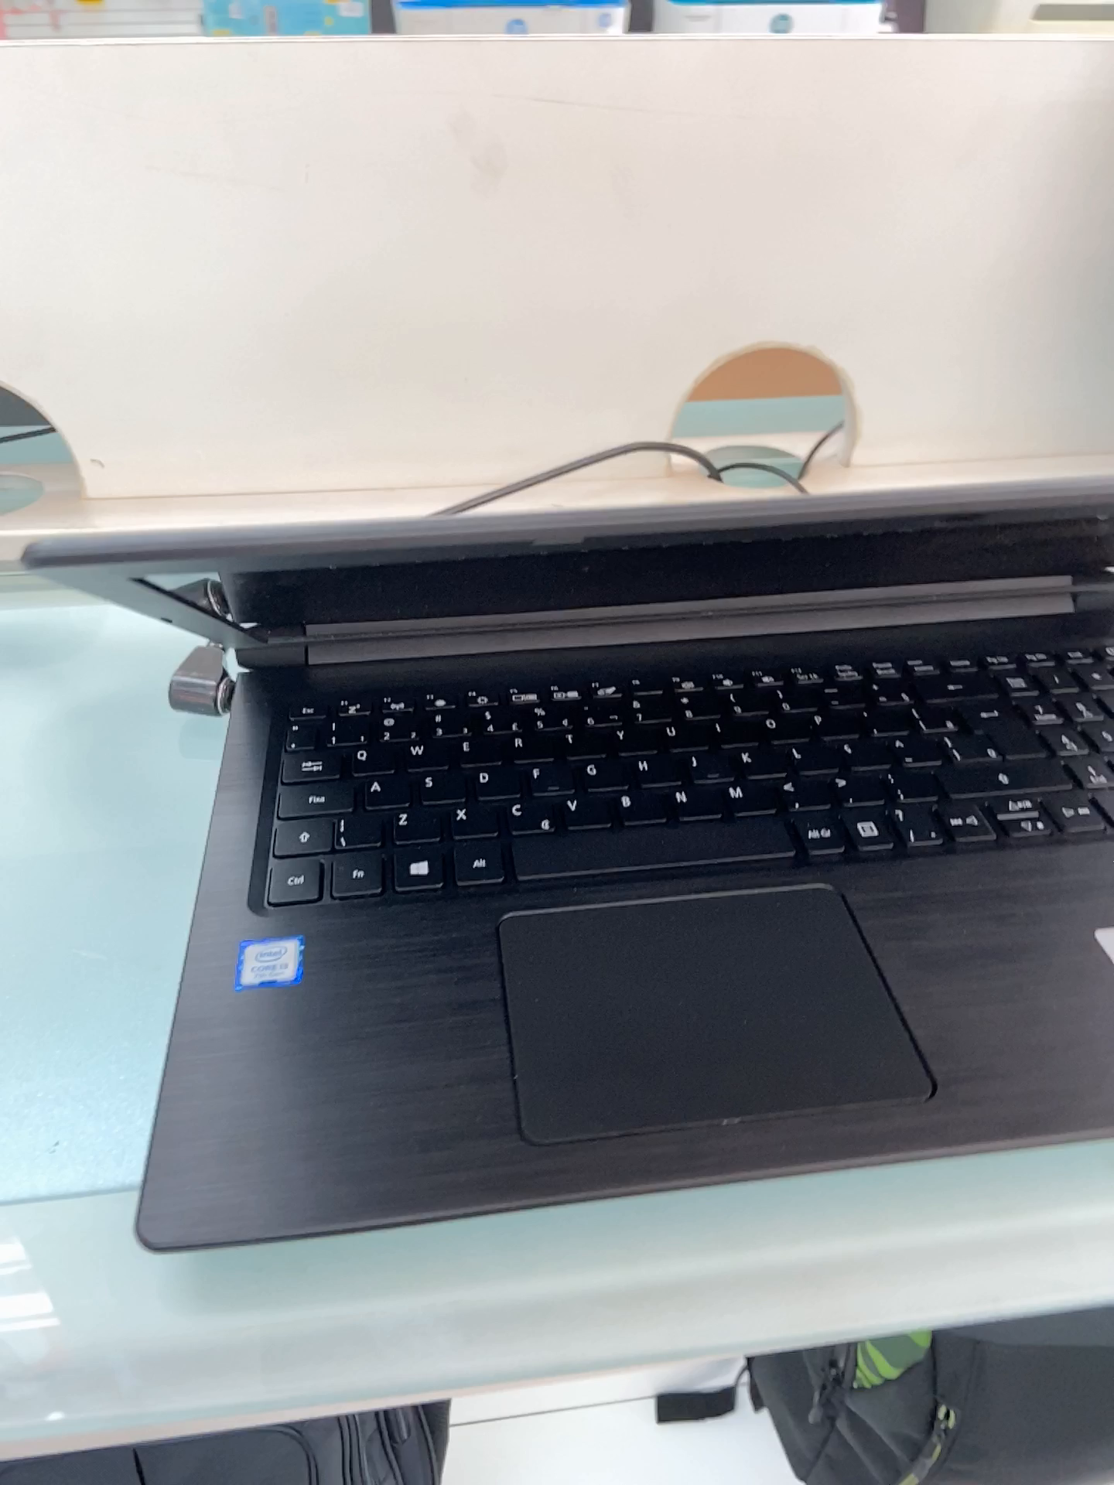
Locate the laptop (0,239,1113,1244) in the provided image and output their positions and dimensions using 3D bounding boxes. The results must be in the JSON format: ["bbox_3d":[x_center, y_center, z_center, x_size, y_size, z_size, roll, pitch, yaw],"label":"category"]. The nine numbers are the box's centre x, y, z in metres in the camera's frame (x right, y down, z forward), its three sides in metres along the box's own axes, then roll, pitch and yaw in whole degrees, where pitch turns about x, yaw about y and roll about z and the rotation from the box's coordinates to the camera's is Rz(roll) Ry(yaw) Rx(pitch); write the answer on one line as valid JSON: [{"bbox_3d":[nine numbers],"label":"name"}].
[{"bbox_3d":[0.074,-0.032,0.323,0.367,0.142,0.234,-5,36,-6],"label":"laptop"}]
